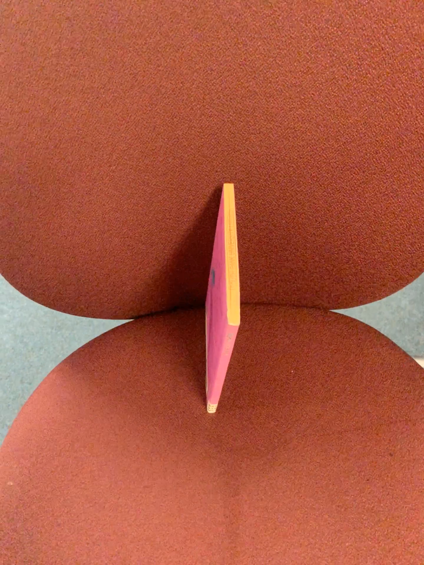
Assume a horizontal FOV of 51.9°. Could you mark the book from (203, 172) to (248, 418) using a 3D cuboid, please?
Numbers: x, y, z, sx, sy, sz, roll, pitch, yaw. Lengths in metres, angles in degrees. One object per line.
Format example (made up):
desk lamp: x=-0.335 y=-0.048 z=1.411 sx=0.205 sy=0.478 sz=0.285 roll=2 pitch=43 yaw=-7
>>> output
book: x=0.007 y=0.022 z=0.391 sx=0.017 sy=0.189 sz=0.142 roll=2 pitch=55 yaw=-4
